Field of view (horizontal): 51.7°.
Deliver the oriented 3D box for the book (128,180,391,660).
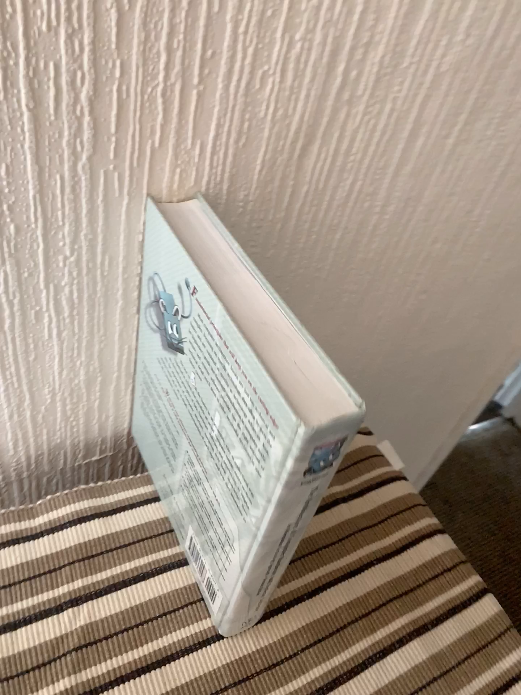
[{"bbox_3d":[-0.035,0.057,0.369,0.040,0.257,0.212,-12,50,-27],"label":"book"}]
